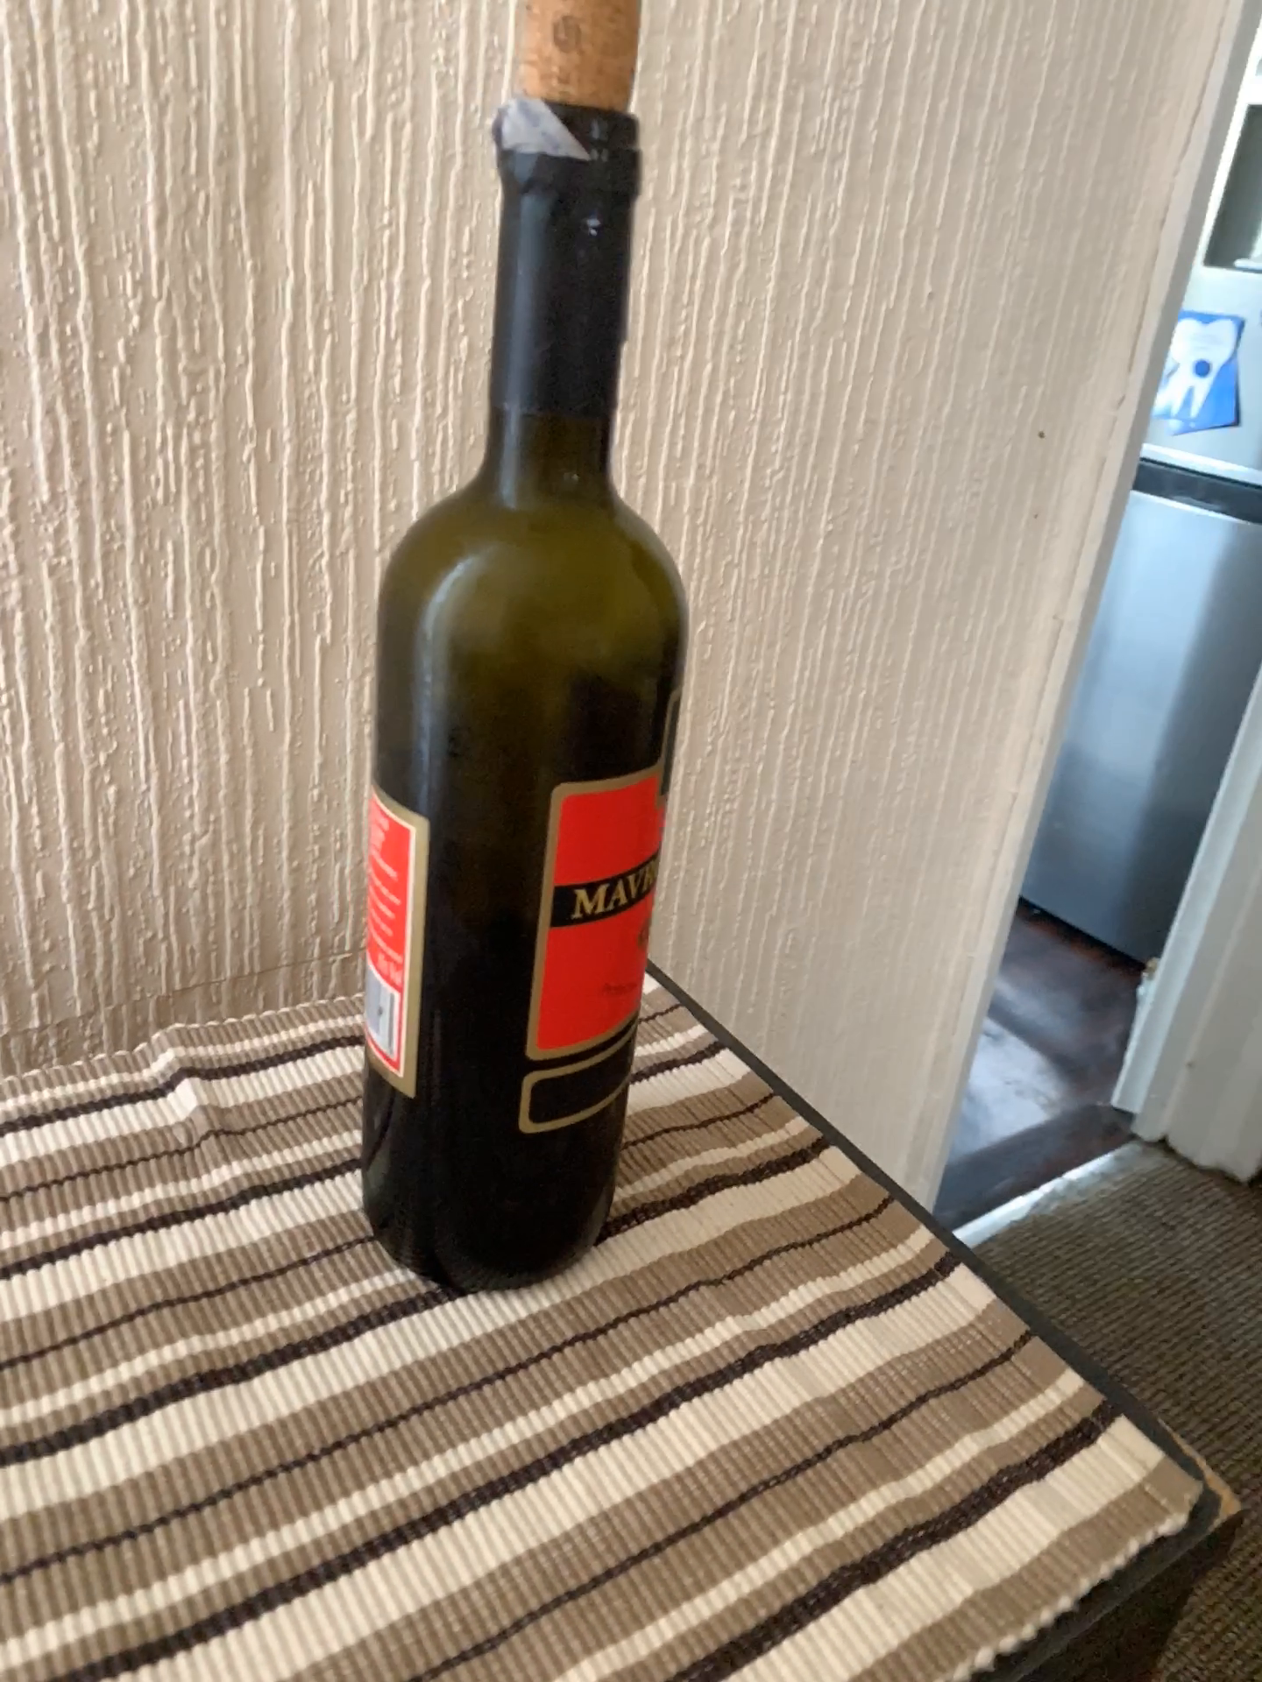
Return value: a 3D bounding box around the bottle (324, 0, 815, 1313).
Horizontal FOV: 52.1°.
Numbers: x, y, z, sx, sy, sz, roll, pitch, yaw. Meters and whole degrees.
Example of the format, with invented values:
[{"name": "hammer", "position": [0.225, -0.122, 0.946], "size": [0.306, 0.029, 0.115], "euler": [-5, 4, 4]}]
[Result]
[{"name": "bottle", "position": [-0.024, -0.035, 0.323], "size": [0.080, 0.317, 0.081], "euler": [6, 25, -3]}]
